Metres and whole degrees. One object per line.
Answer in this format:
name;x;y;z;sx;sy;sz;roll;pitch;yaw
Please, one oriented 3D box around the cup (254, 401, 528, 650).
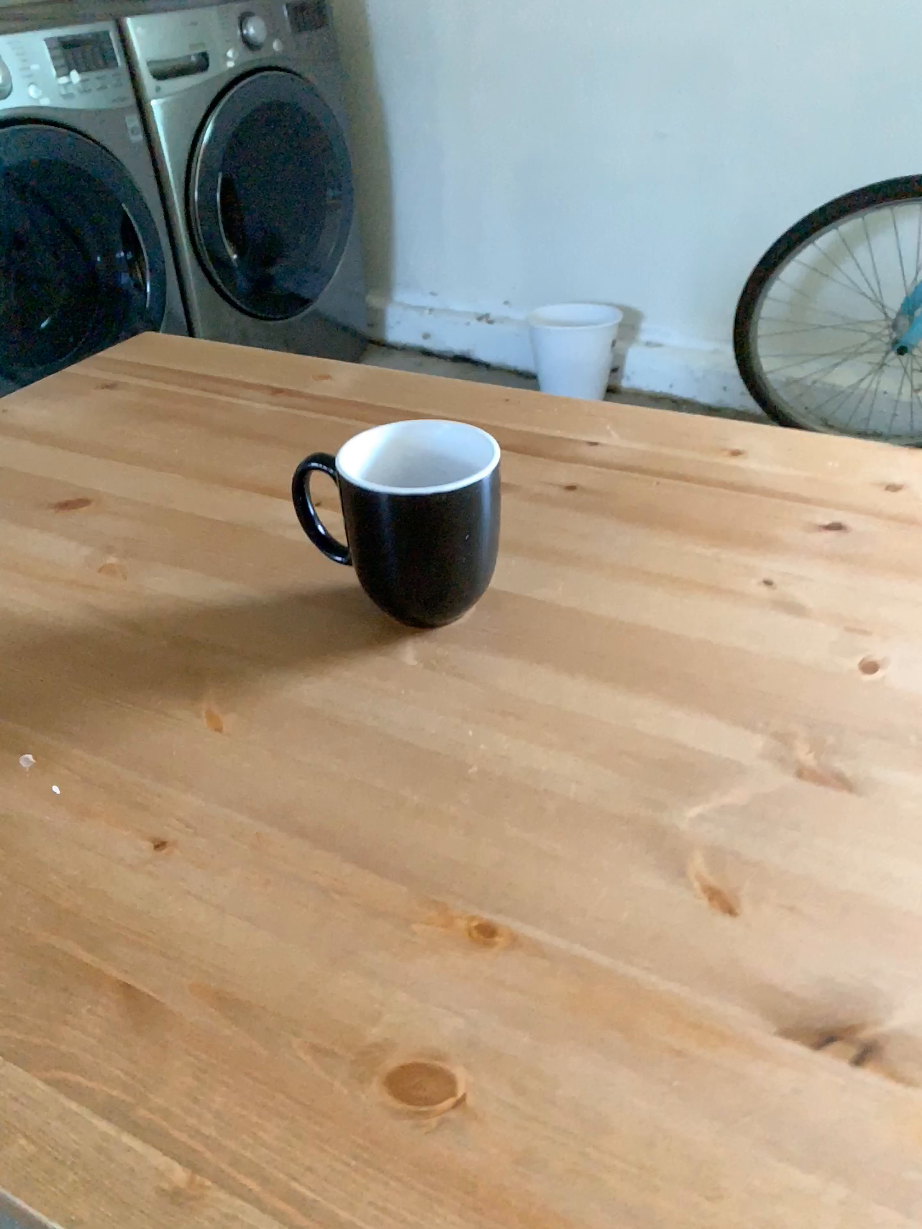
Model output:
cup;-0.037;-0.060;0.603;0.140;0.109;0.100;7;37;14
